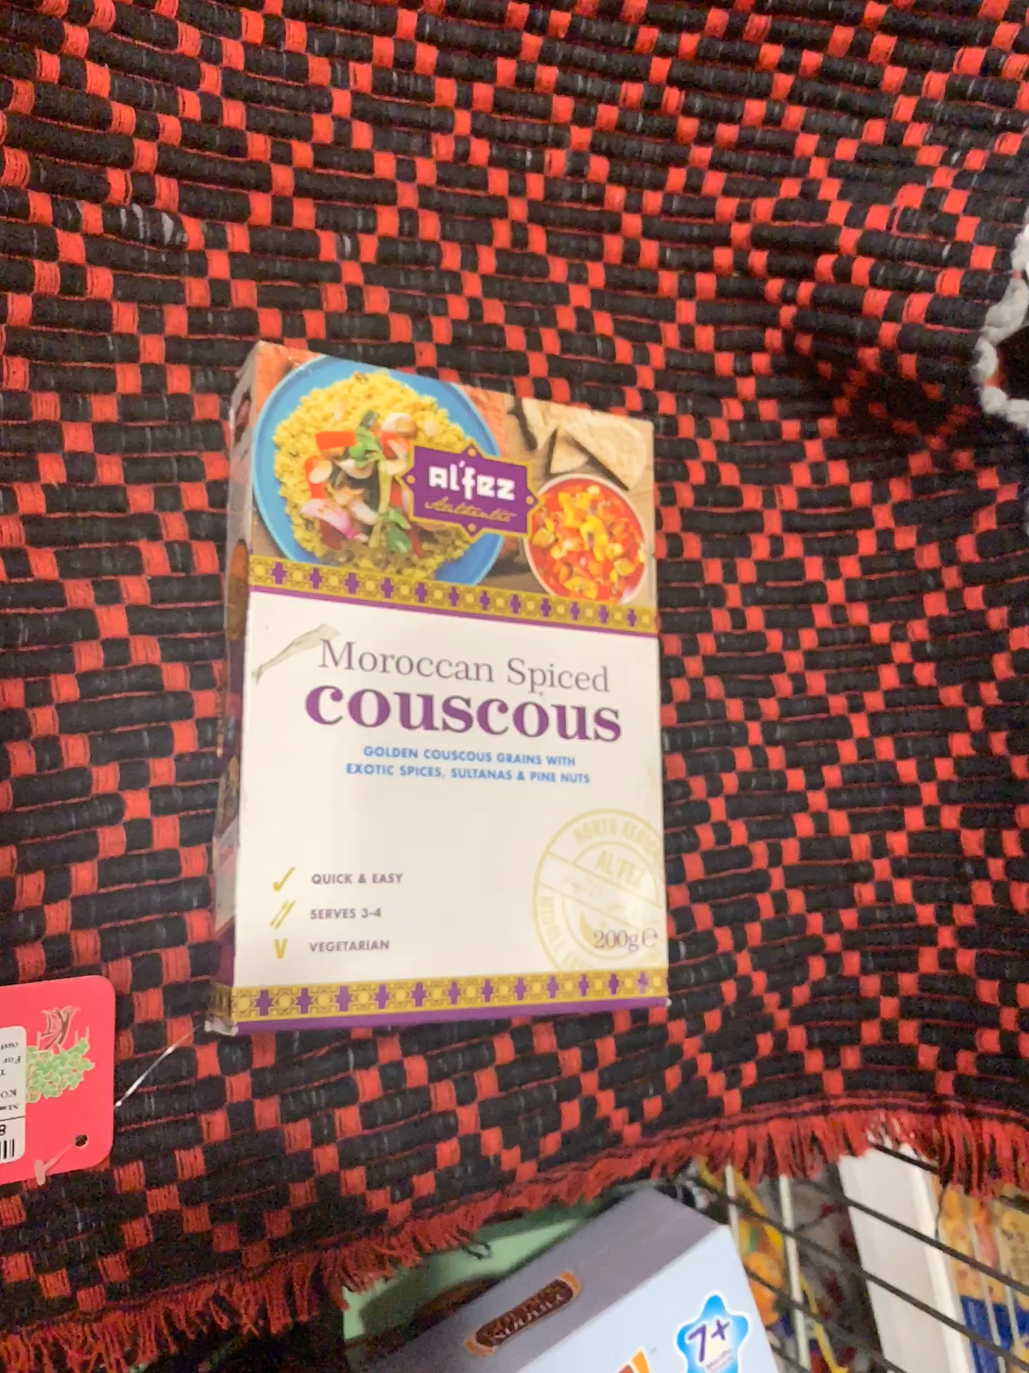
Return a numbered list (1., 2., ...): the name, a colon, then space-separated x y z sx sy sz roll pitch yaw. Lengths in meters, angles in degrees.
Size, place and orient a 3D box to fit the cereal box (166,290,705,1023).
1. cereal box: -0.018 -0.002 0.276 0.120 0.050 0.160 6 77 -25
